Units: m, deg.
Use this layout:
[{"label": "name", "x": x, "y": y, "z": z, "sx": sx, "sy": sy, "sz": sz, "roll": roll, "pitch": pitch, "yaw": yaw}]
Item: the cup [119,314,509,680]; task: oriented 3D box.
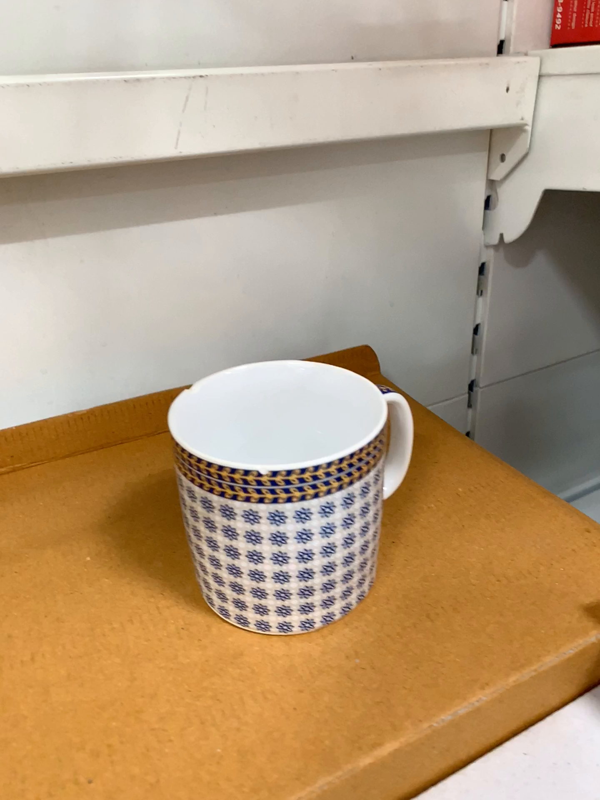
[{"label": "cup", "x": 0.006, "y": 0.024, "z": 0.232, "sx": 0.110, "sy": 0.069, "sz": 0.080, "roll": -21, "pitch": 32, "yaw": -32}]
